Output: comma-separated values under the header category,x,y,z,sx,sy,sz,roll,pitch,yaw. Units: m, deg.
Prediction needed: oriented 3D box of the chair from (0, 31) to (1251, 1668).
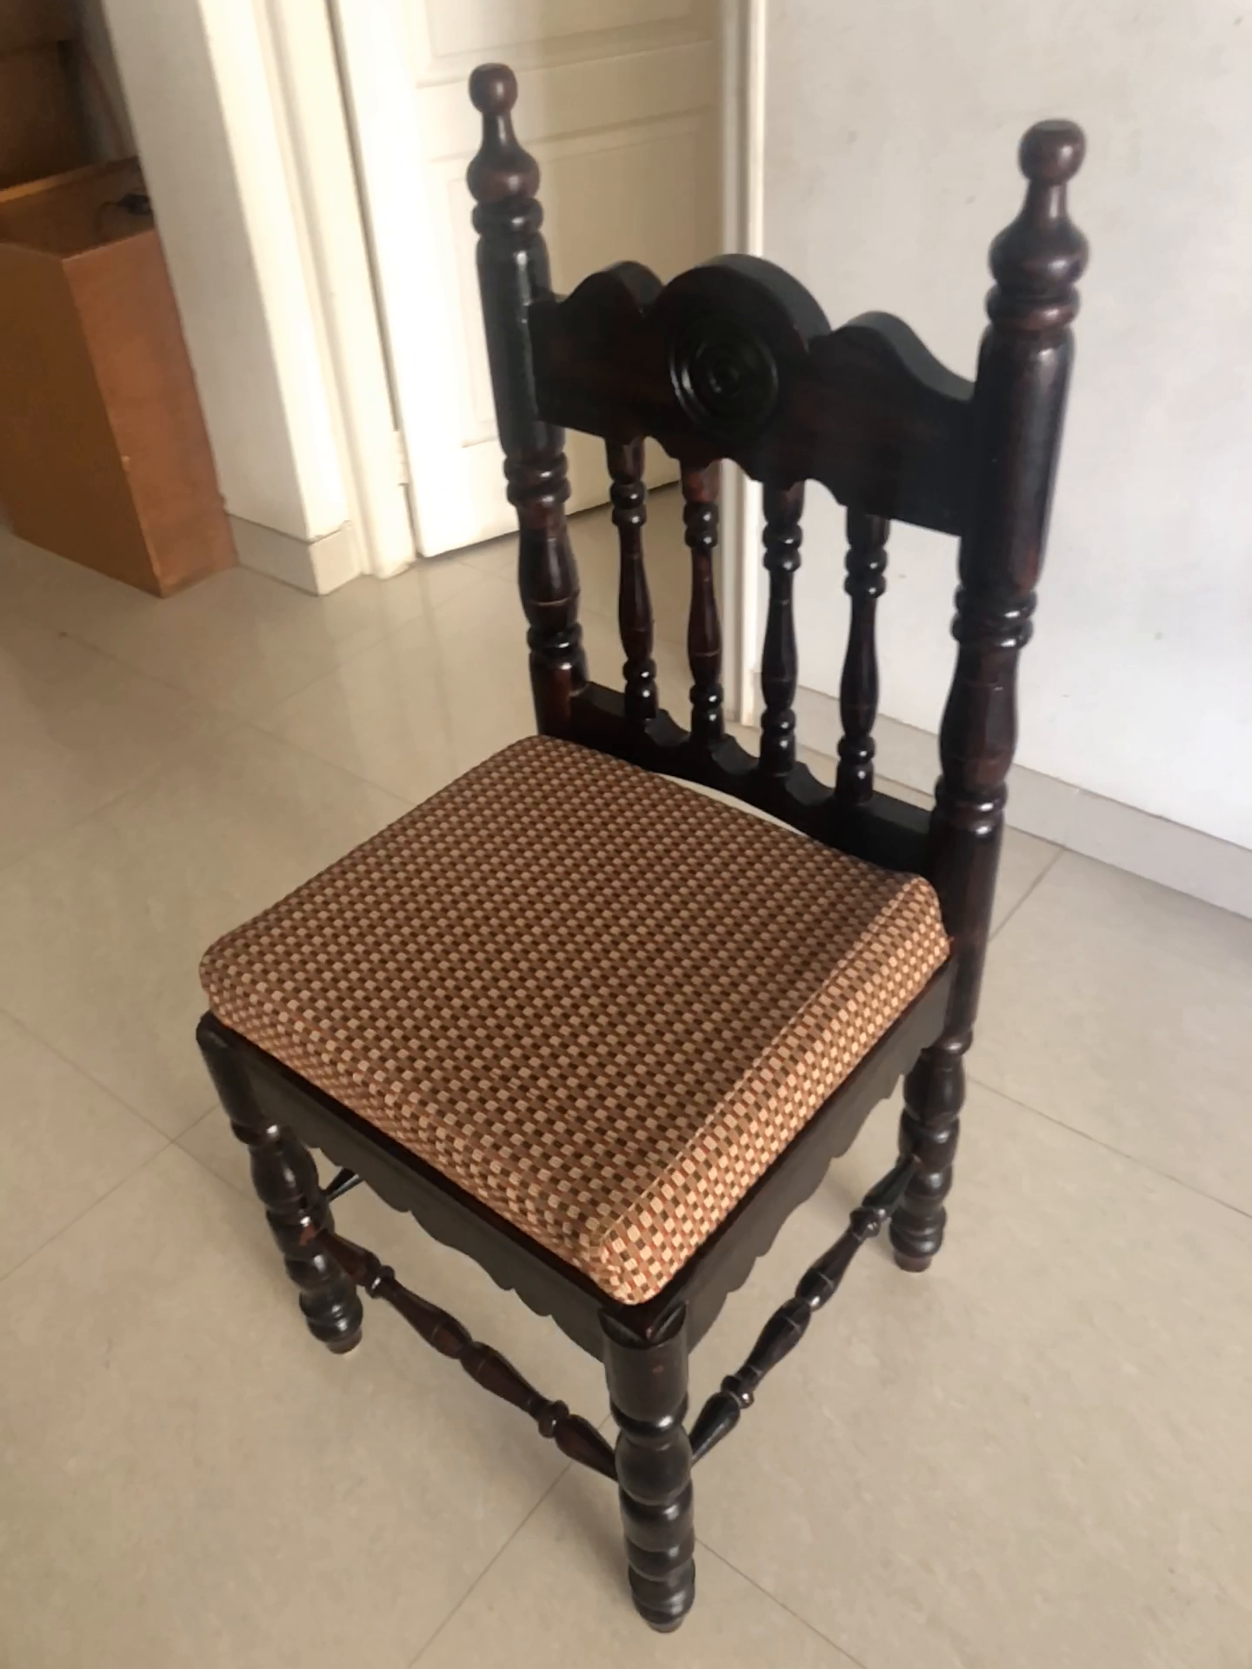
category,x,y,z,sx,sy,sz,roll,pitch,yaw
chair,0.016,0.039,1.034,0.501,1.022,0.563,25,46,31
